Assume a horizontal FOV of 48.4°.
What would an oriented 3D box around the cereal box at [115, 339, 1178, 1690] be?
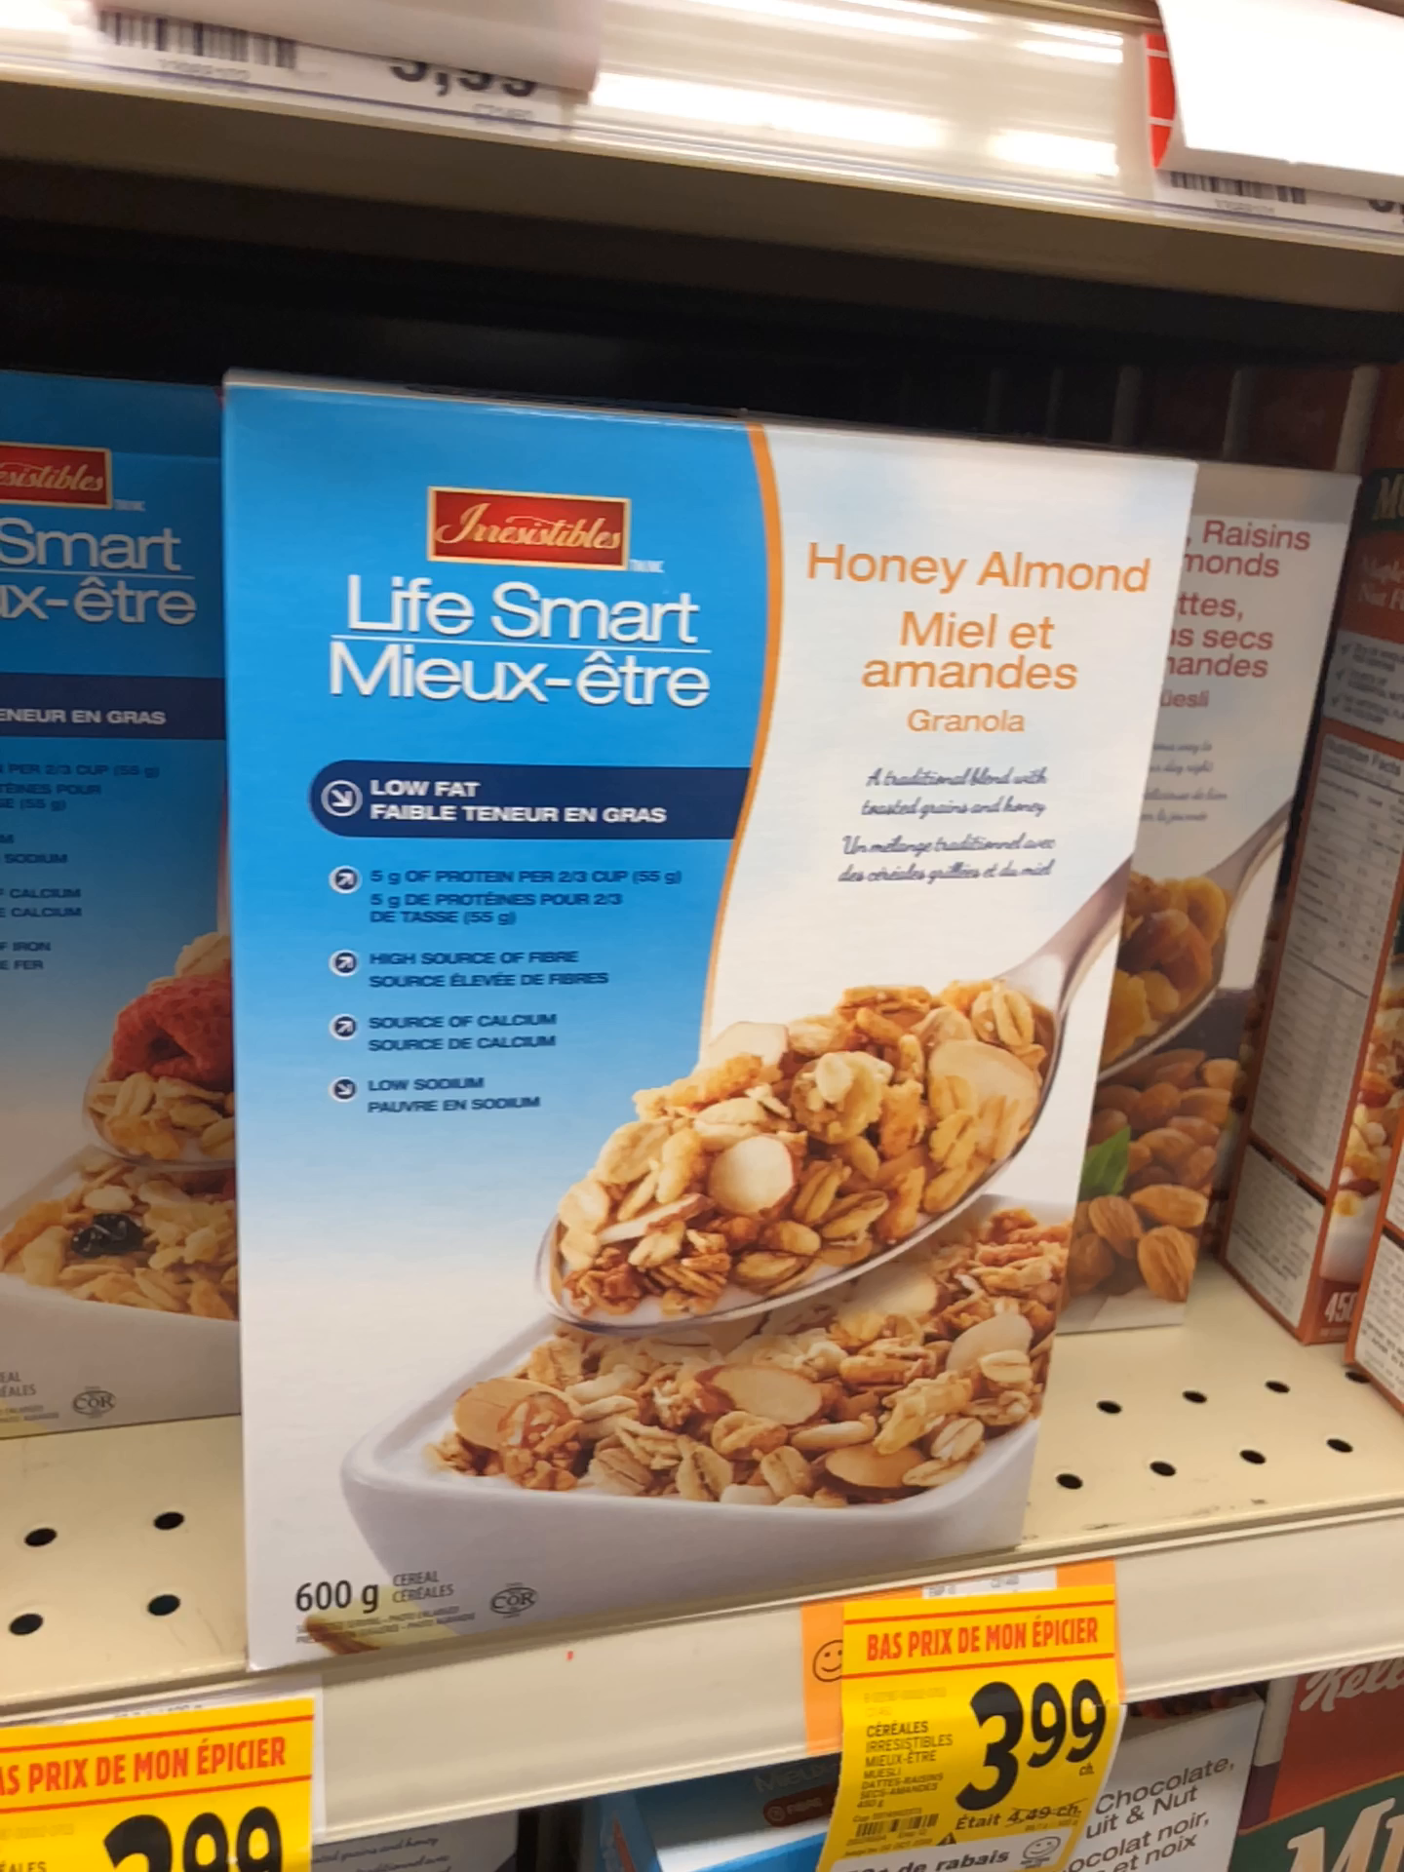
[{"bbox_3d":[-0.018,0.017,0.307,0.170,0.239,0.060,-1,19,-16],"label":"cereal box"}]
